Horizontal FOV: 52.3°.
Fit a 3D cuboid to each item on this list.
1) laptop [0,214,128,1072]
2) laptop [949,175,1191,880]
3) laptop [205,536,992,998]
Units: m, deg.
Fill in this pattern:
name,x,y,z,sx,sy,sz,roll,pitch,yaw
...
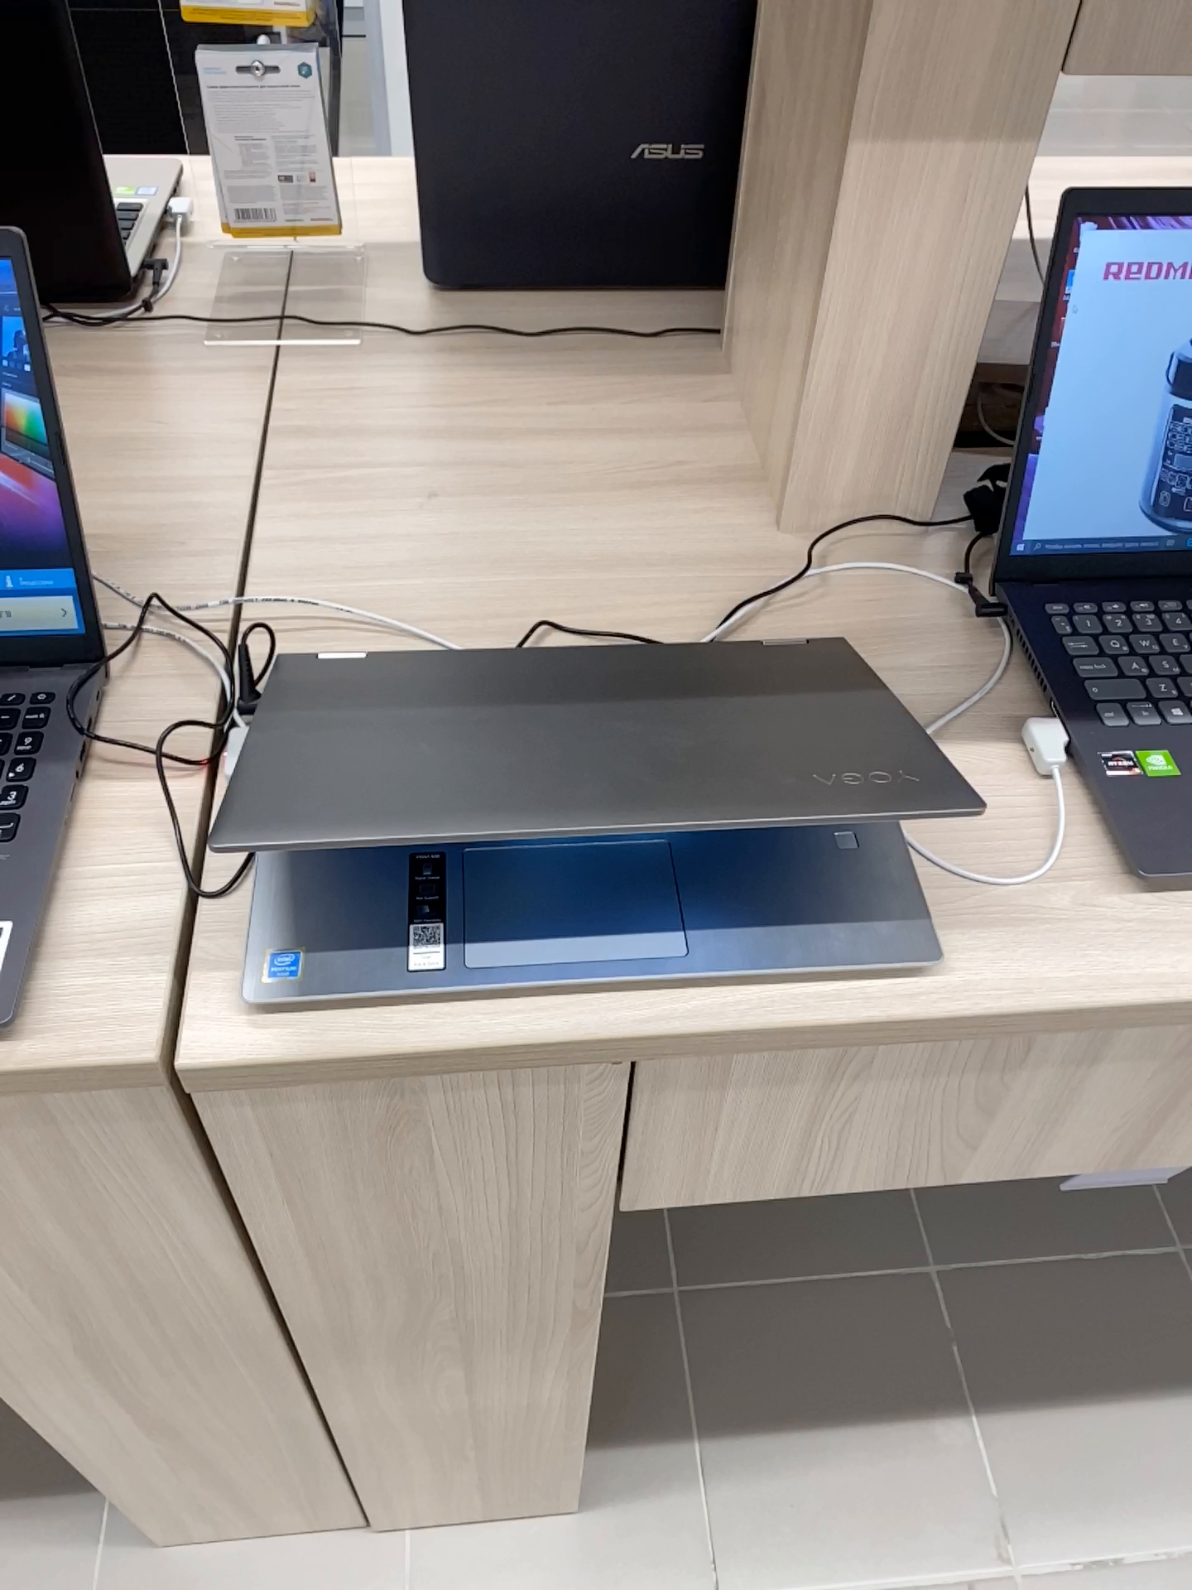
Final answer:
name,x,y,z,sx,sy,sz,roll,pitch,yaw
laptop,-0.441,-0.080,0.535,0.352,0.212,0.309,-2,47,-5
laptop,0.455,-0.155,0.652,0.389,0.215,0.304,-4,49,-7
laptop,-0.005,-0.024,0.602,0.325,0.082,0.219,-2,48,-4
